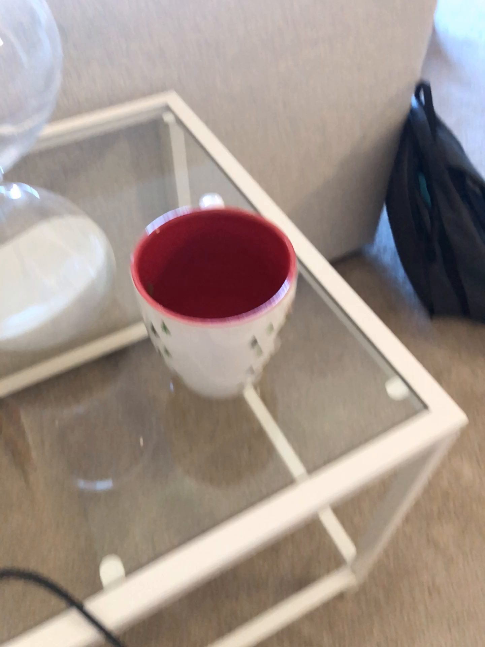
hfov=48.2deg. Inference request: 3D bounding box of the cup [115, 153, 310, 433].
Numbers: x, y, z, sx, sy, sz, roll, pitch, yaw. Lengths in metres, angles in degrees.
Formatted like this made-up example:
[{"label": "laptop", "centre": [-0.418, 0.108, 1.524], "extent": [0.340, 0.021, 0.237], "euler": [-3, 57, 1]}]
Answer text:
[{"label": "cup", "centre": [-0.020, -0.022, 0.368], "extent": [0.100, 0.110, 0.151], "euler": [-3, 51, -2]}]
